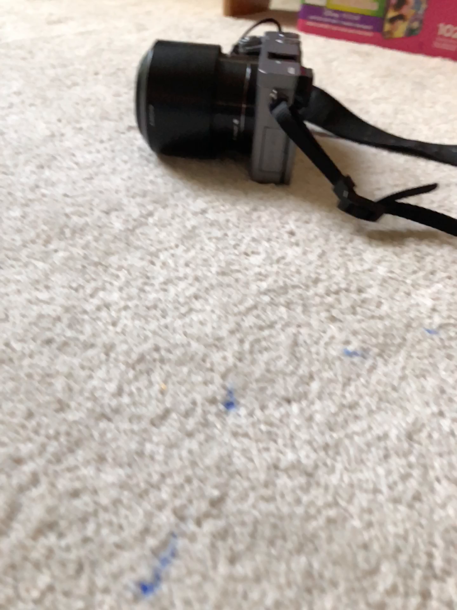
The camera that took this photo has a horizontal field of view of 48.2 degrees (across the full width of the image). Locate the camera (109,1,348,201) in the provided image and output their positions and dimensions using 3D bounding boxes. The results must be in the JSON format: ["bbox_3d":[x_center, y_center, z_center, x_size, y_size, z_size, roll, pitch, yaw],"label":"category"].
[{"bbox_3d":[0.002,-0.131,0.312,0.110,0.070,0.141,5,37,0],"label":"camera"}]
